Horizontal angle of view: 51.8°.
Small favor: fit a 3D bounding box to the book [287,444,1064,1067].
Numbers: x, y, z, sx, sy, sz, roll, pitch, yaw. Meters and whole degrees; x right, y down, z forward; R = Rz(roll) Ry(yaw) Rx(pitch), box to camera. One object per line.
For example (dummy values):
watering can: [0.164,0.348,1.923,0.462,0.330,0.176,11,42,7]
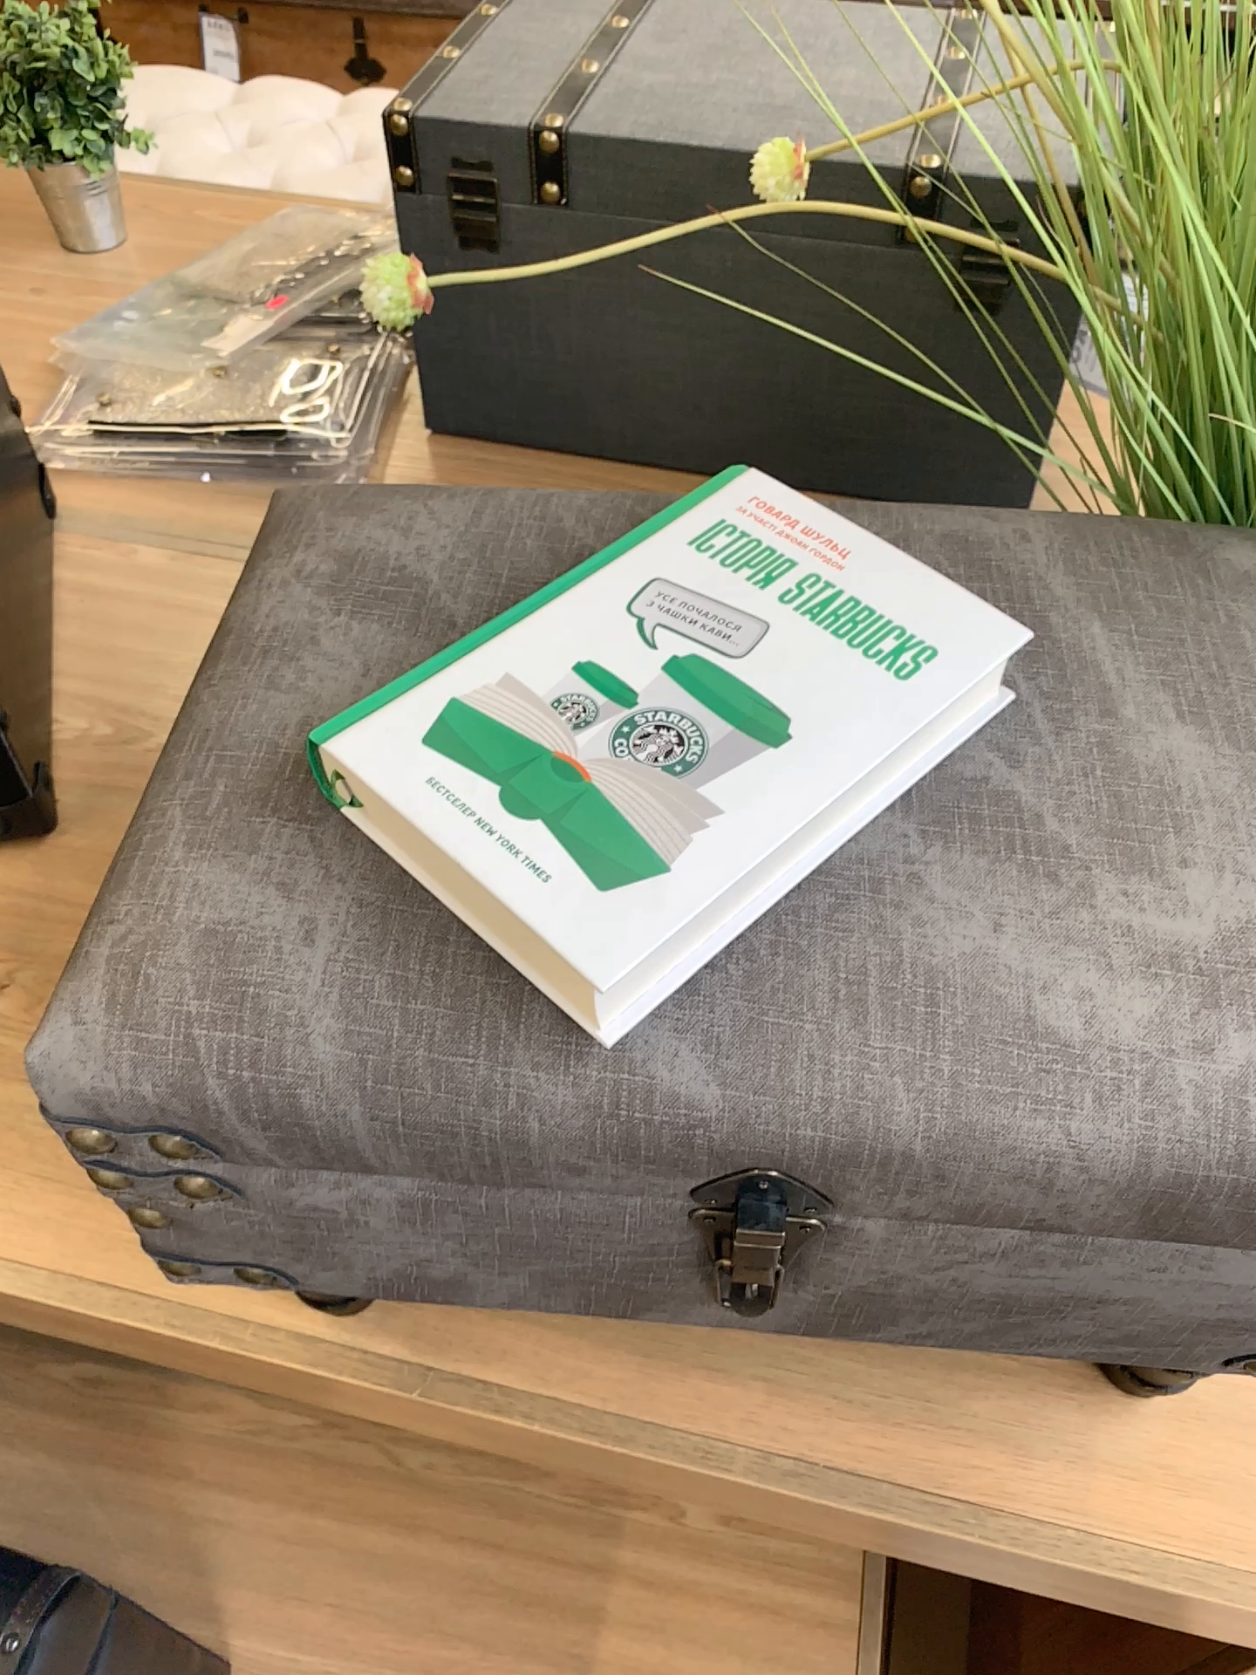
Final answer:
book: [0.022,-0.048,0.478,0.235,0.040,0.160,-37,59,-27]
